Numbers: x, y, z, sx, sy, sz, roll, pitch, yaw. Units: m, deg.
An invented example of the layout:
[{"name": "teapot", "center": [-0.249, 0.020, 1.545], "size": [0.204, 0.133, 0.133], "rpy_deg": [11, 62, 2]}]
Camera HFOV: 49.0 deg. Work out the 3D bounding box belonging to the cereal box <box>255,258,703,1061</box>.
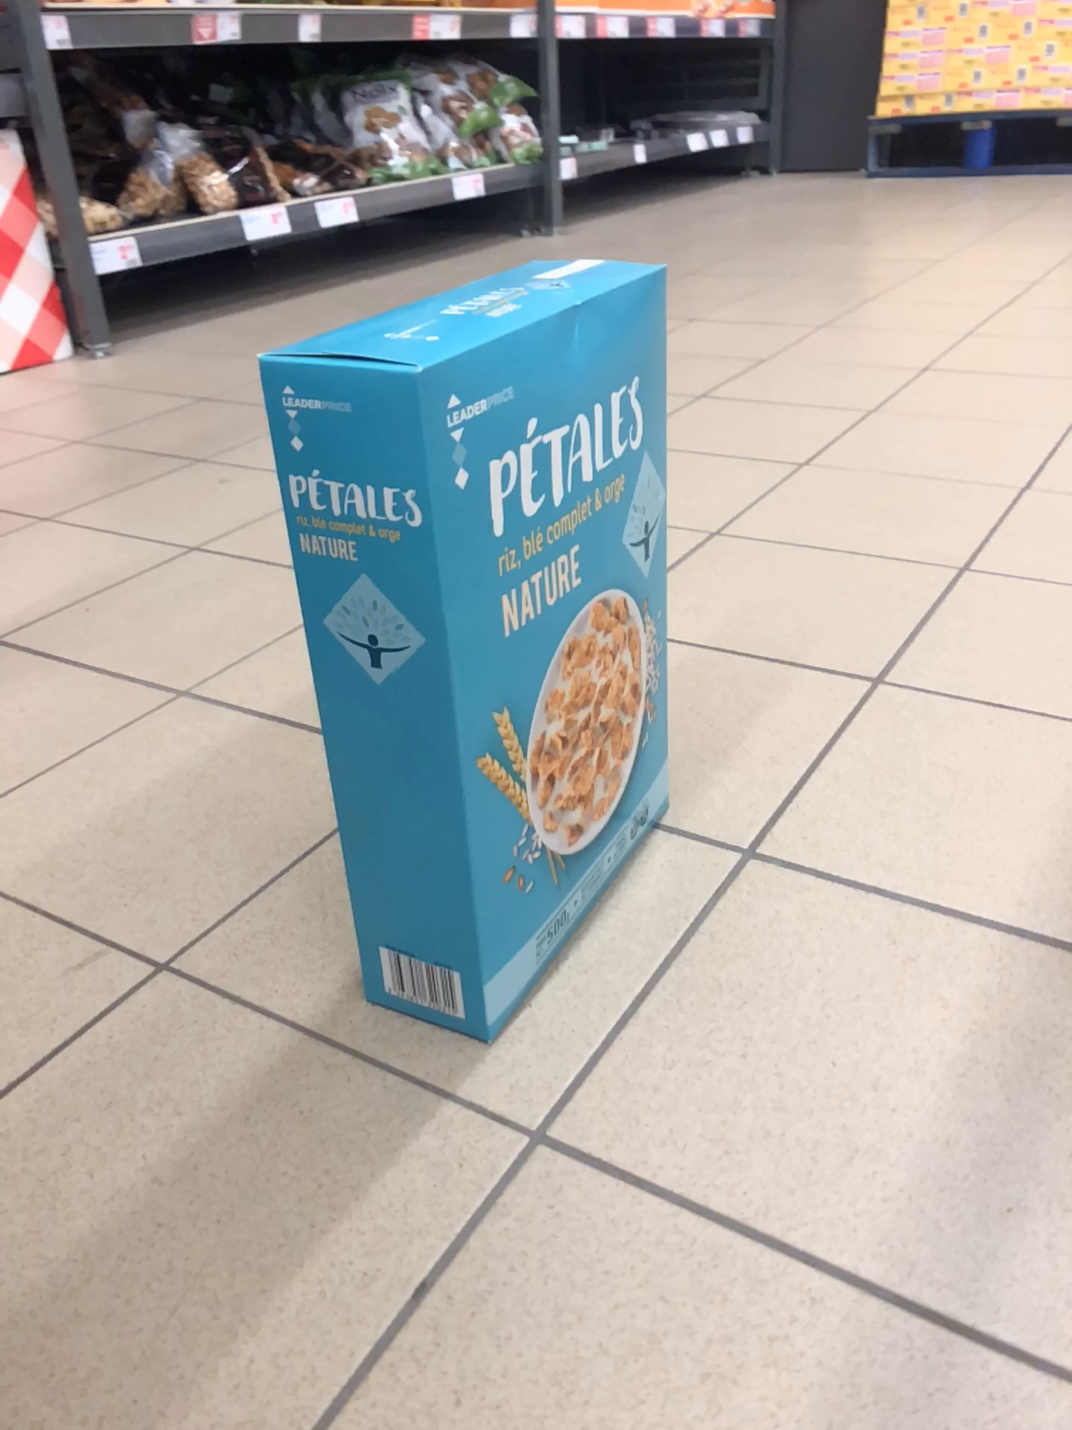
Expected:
[{"name": "cereal box", "center": [-0.002, -0.034, 0.491], "size": [0.070, 0.268, 0.201], "rpy_deg": [12, 31, 27]}]
